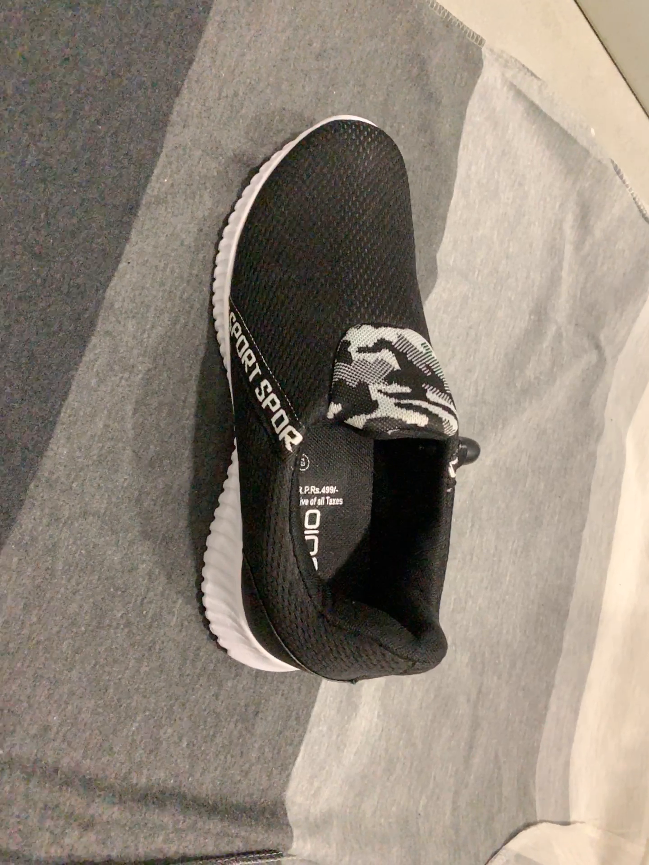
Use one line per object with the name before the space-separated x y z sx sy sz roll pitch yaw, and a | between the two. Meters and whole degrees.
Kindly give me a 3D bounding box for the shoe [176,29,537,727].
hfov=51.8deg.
shoe | 0.013 -0.016 0.295 0.100 0.100 0.240 8 84 -31
